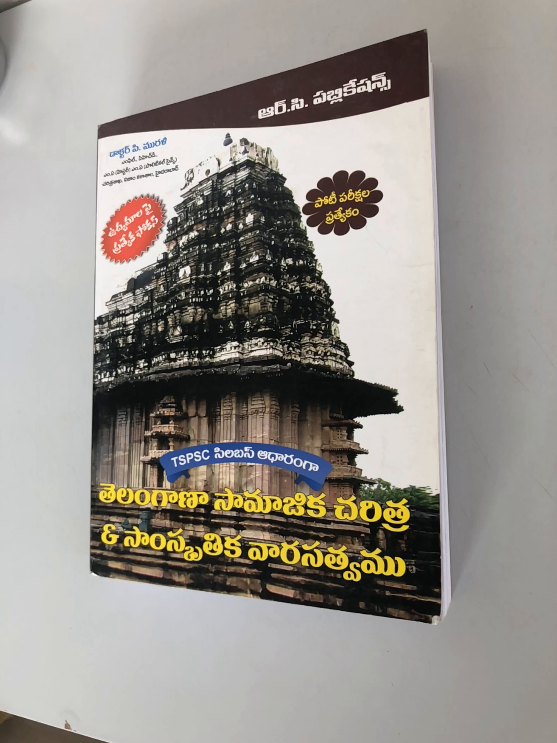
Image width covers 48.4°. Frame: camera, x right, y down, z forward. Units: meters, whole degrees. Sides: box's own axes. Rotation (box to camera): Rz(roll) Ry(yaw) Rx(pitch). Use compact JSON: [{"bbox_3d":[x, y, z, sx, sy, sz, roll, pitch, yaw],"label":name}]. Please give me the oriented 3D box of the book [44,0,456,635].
[{"bbox_3d":[-0.018,-0.021,0.278,0.180,0.040,0.230,-2,84,26],"label":"book"}]
